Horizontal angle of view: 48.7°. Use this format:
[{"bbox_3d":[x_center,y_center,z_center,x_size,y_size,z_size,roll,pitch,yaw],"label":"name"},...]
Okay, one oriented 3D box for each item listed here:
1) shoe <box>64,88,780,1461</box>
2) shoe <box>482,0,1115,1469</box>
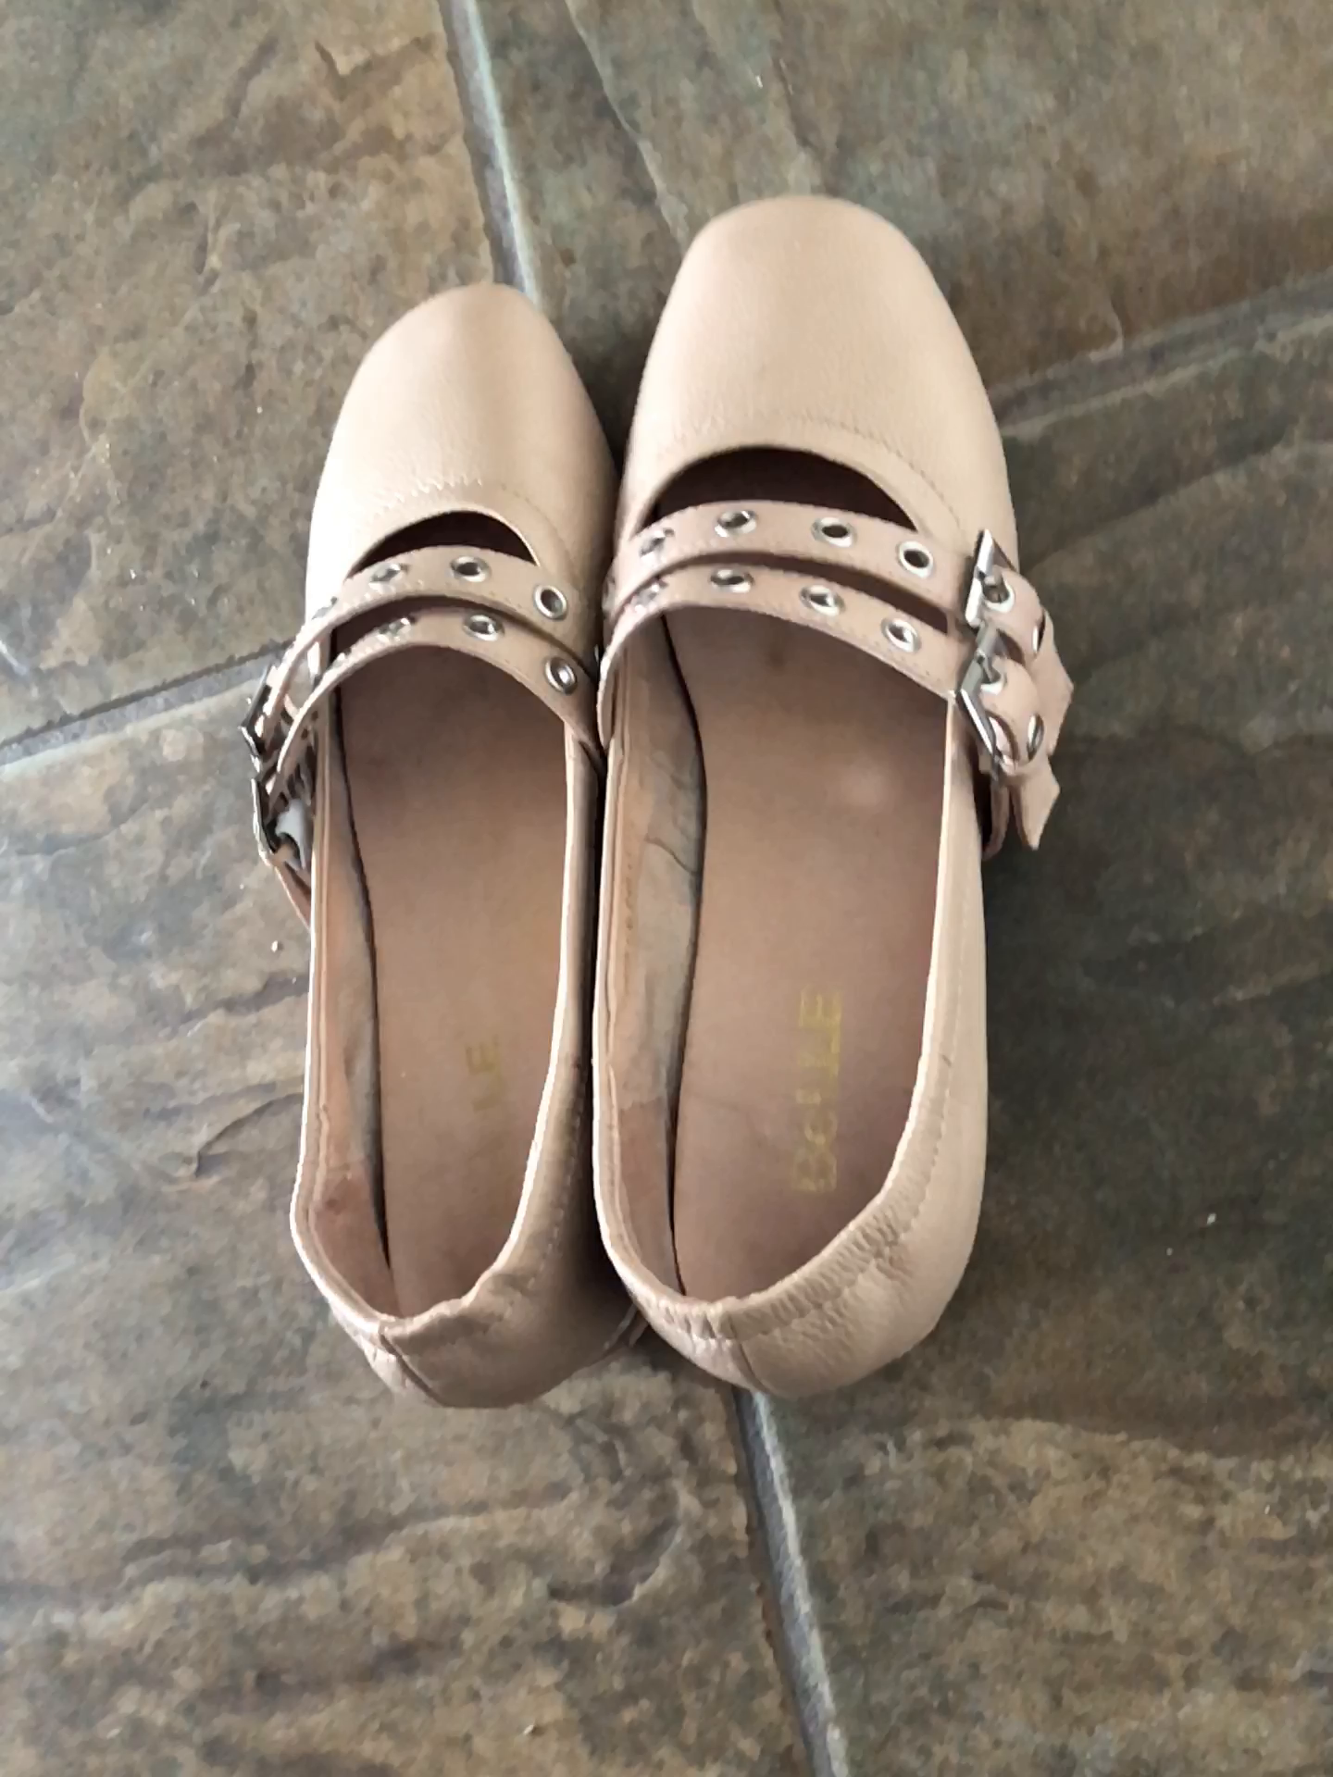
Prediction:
[{"bbox_3d":[-0.051,-0.019,0.322,0.100,0.090,0.250,-10,81,18],"label":"shoe"},{"bbox_3d":[0.028,-0.036,0.277,0.090,0.090,0.250,-4,83,19],"label":"shoe"}]
